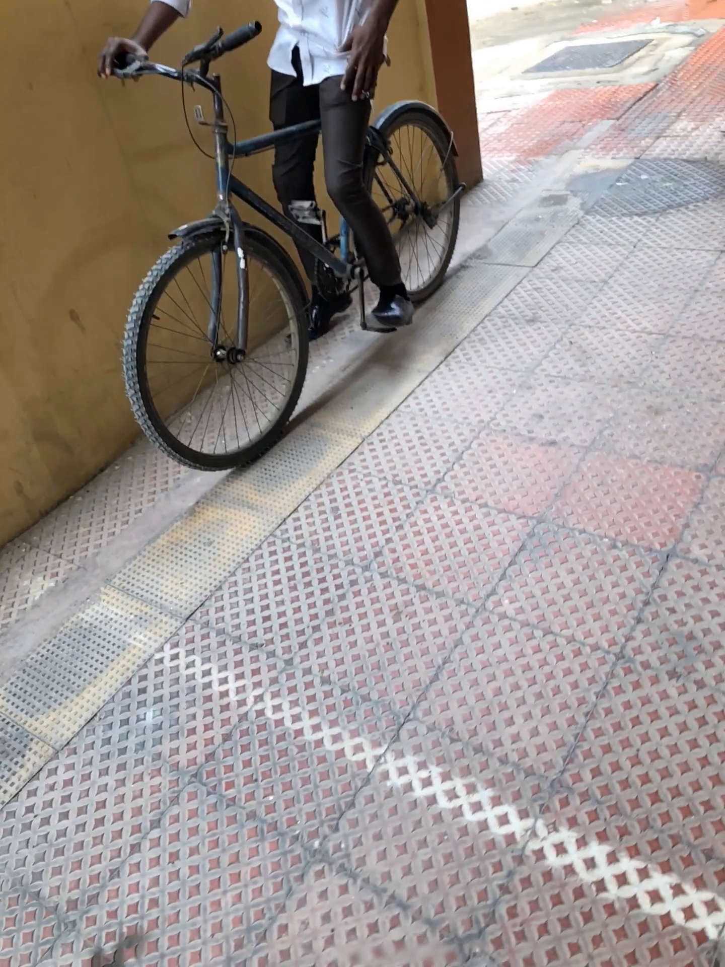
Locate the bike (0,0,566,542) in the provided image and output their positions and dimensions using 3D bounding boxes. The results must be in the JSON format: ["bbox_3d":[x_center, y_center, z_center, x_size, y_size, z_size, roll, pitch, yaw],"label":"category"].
[{"bbox_3d":[-0.035,-0.792,2.169,0.588,1.024,1.581,17,44,33],"label":"bike"}]
